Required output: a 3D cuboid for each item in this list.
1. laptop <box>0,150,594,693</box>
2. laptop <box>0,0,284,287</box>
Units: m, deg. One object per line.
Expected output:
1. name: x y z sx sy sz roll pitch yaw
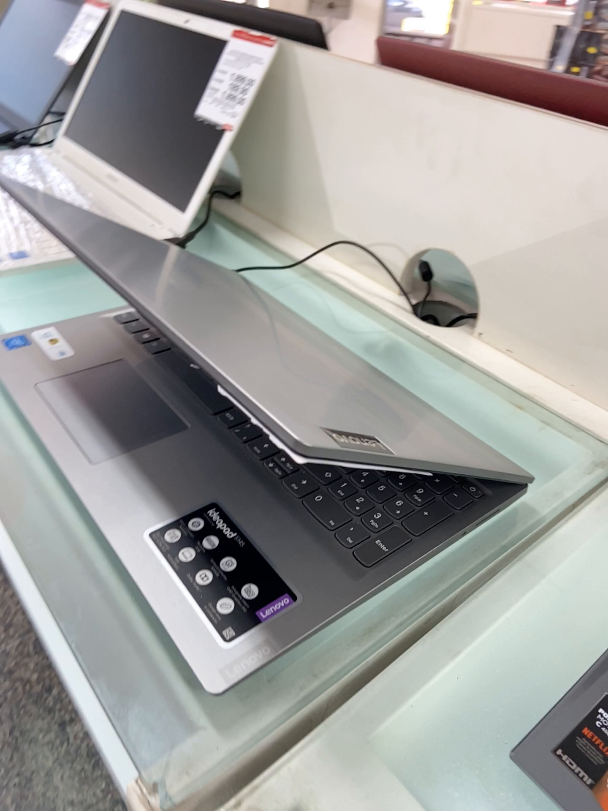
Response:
1. laptop: -0.054 -0.050 0.429 0.250 0.127 0.365 -22 44 -33
2. laptop: -0.308 -0.351 0.749 0.384 0.202 0.411 -20 43 -31
